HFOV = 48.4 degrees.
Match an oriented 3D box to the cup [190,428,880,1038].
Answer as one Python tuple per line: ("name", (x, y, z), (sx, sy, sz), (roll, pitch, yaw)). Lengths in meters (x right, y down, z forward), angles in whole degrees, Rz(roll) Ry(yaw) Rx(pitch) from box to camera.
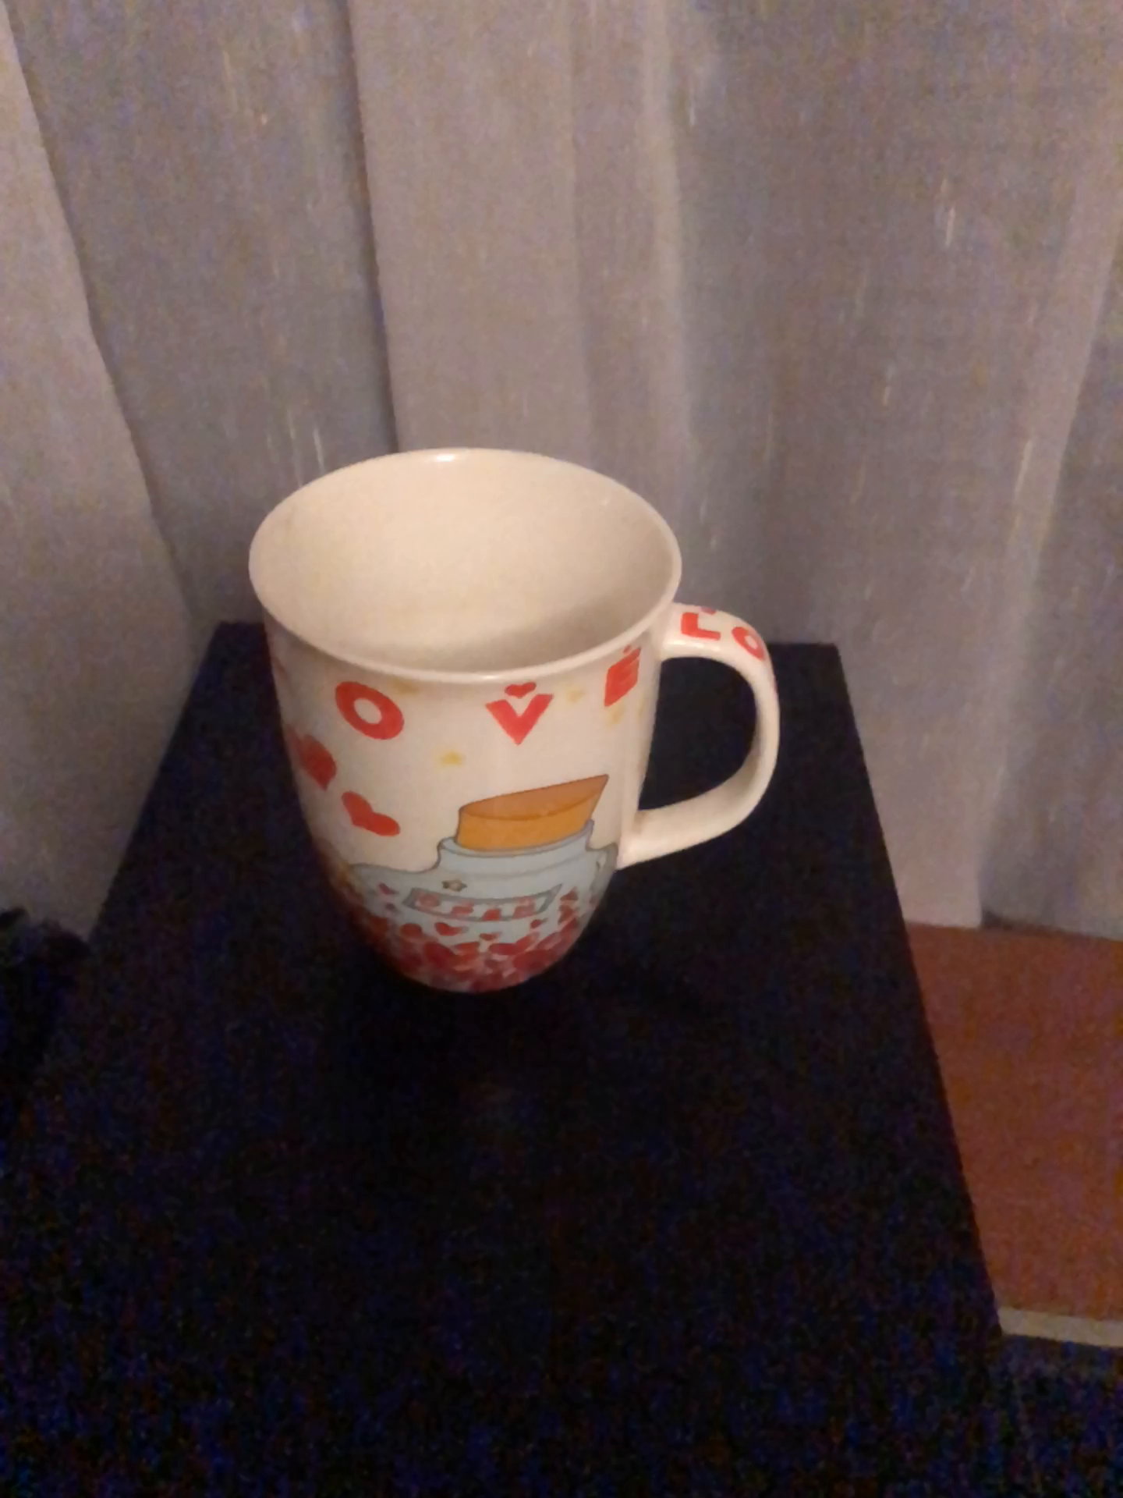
("cup", (-0.004, -0.003, 0.263), (0.111, 0.098, 0.078), (1, 40, 1))
